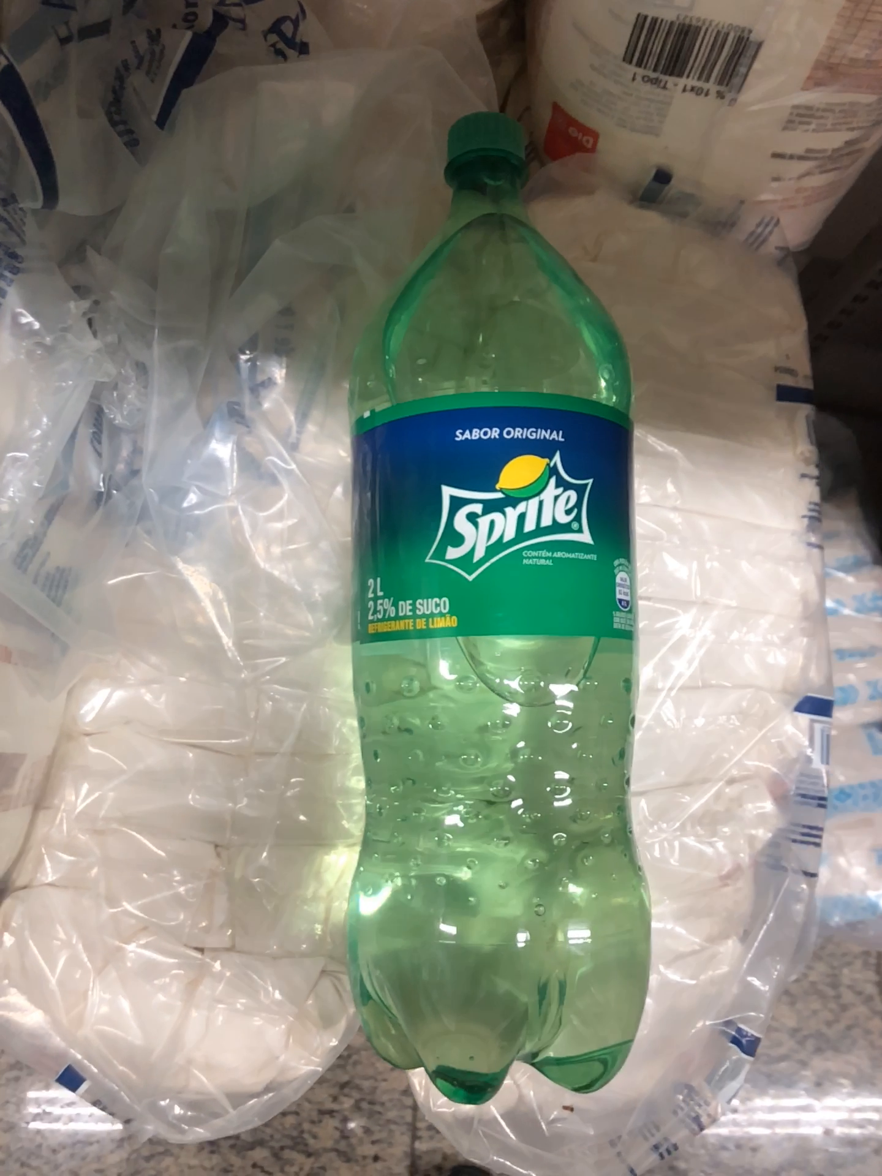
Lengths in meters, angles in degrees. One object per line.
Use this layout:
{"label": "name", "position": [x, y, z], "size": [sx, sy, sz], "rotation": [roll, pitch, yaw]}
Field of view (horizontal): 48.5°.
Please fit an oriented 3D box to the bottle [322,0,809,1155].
{"label": "bottle", "position": [0.020, -0.035, 0.344], "size": [0.110, 0.110, 0.381], "rotation": [0, 73, -11]}
